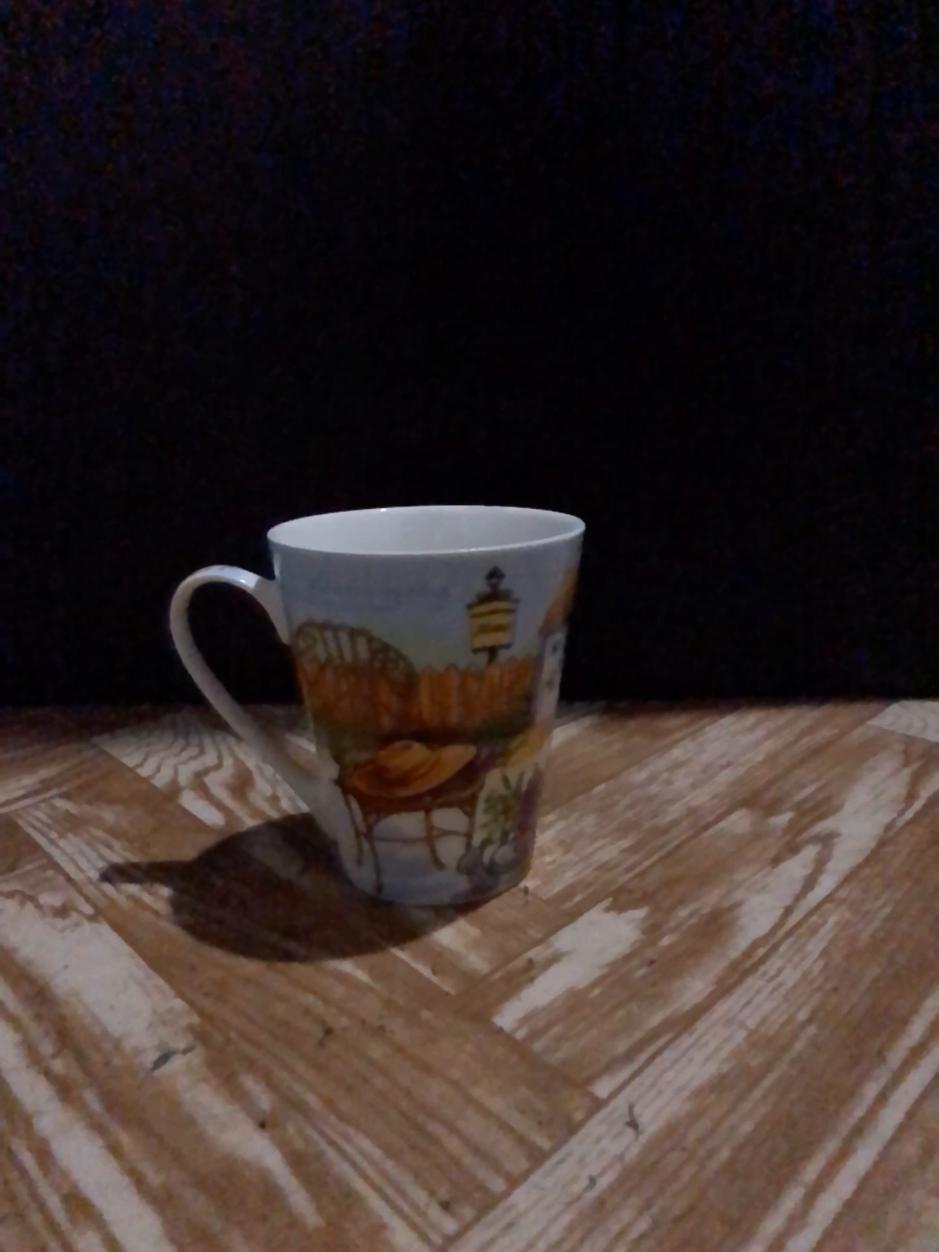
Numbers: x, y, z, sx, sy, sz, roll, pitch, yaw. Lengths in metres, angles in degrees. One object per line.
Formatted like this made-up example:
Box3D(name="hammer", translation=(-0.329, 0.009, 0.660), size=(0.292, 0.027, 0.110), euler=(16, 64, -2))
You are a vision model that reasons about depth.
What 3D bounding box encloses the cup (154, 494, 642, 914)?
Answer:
Box3D(name="cup", translation=(-0.016, 0.015, 0.285), size=(0.111, 0.090, 0.079), euler=(-2, 14, -2))
